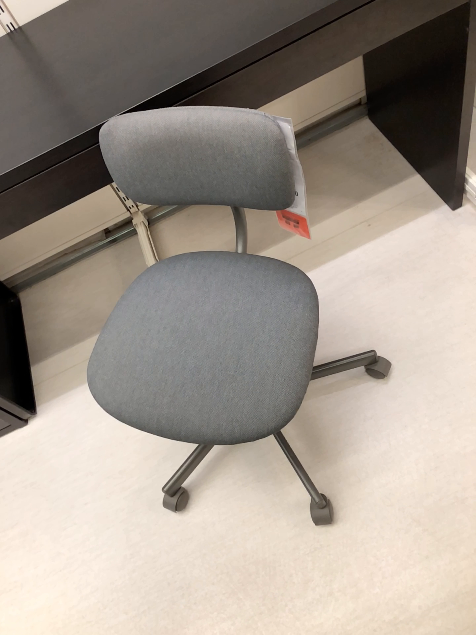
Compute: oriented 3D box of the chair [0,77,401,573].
[{"bbox_3d":[-0.058,0.047,1.007,0.621,0.676,0.592,7,62,22],"label":"chair"}]
